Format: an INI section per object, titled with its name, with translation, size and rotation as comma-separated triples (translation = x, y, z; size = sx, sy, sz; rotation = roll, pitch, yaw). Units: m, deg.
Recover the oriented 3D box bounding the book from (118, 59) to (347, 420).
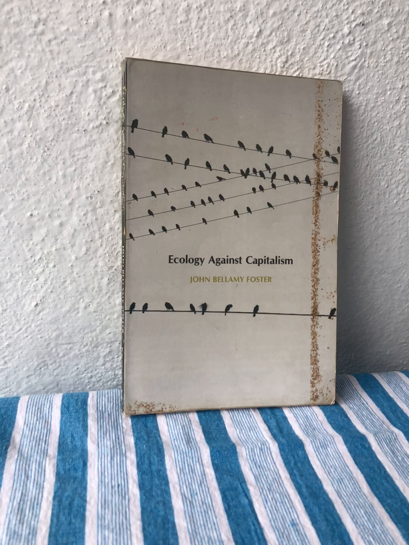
[book]
translation = 0.018, -0.020, 0.289
size = 0.140, 0.210, 0.030
rotation = 0, 1, -9
